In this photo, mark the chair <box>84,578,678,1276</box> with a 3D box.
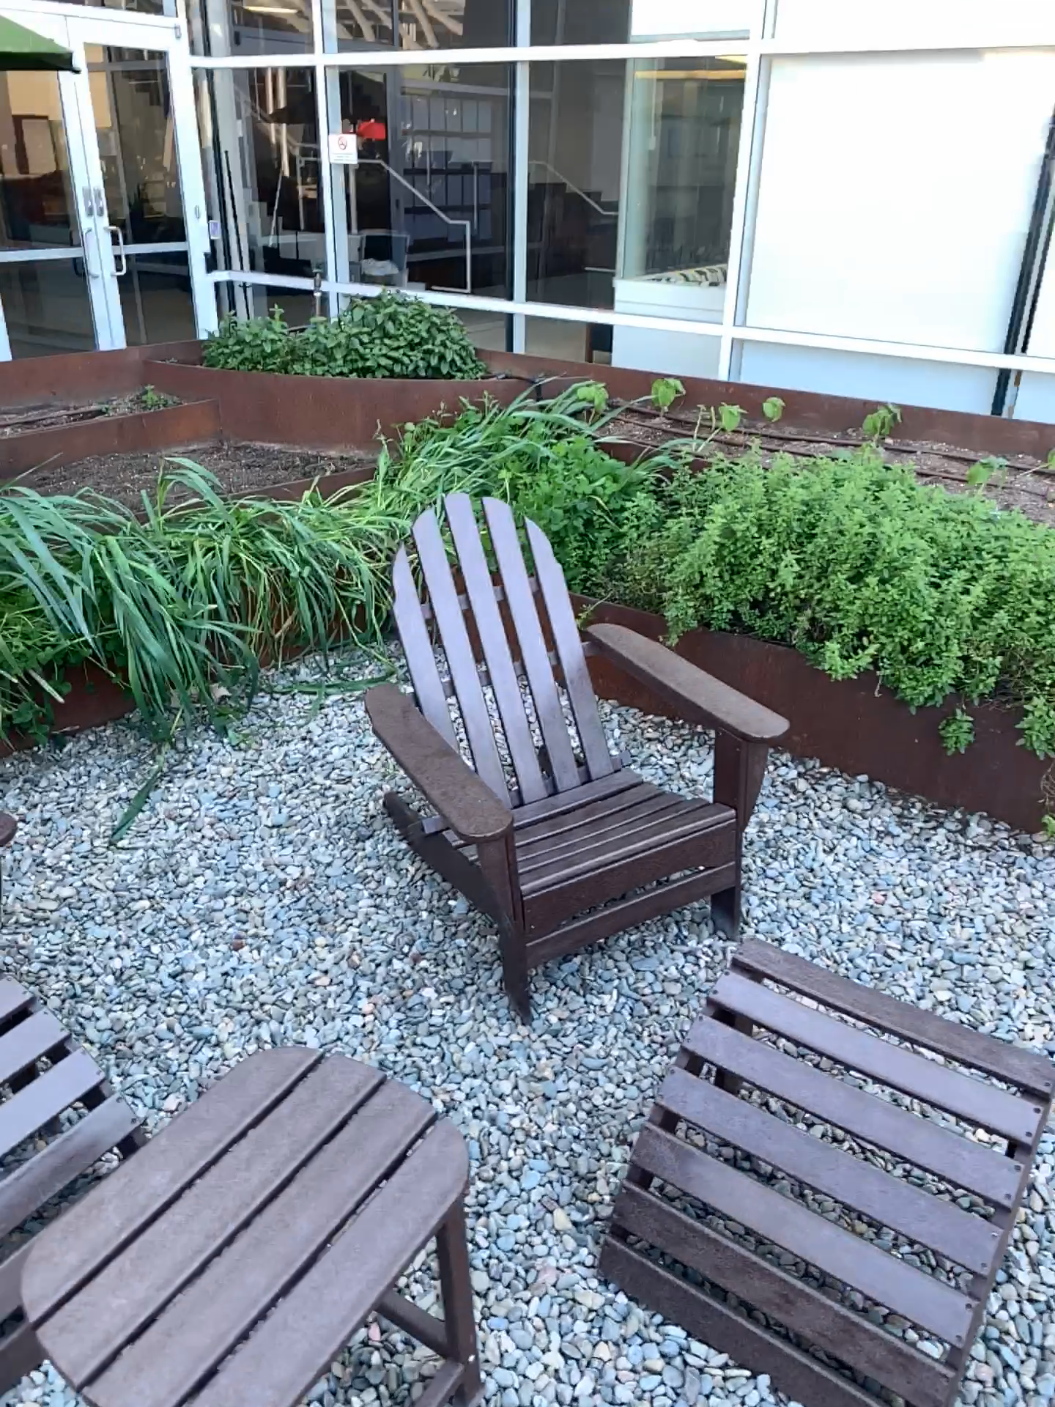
[{"bbox_3d":[-0.364,0.398,2.453,1.000,0.994,1.006,-7,28,-15],"label":"chair"}]
